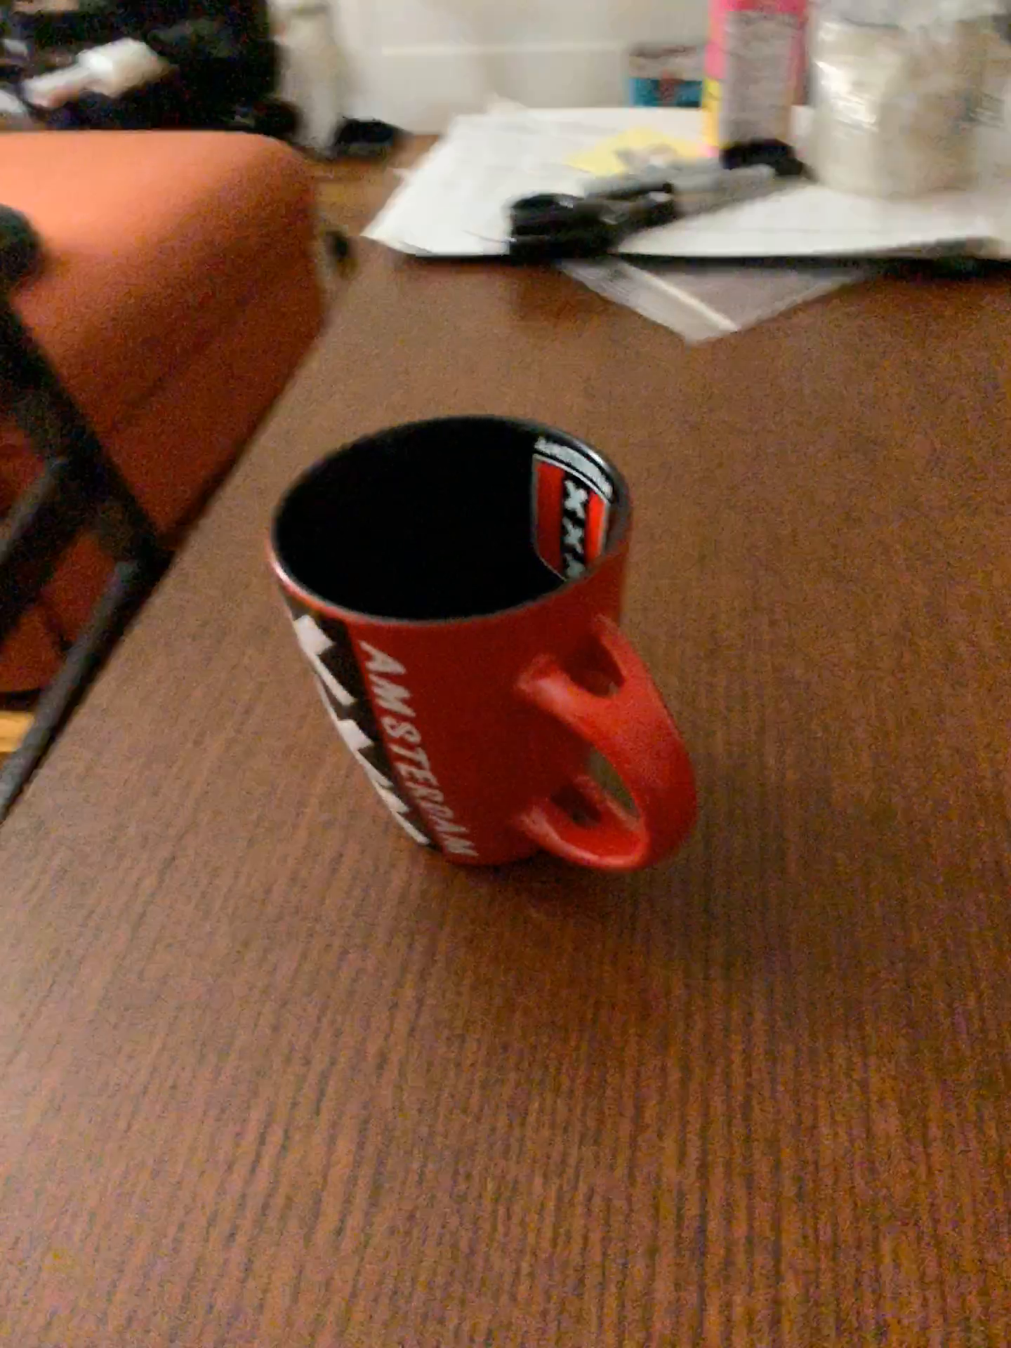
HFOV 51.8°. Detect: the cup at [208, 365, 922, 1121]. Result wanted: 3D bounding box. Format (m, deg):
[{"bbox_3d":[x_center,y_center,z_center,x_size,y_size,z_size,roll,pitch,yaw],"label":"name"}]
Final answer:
[{"bbox_3d":[0.008,0.008,0.254,0.090,0.099,0.131,-28,47,-22],"label":"cup"}]
